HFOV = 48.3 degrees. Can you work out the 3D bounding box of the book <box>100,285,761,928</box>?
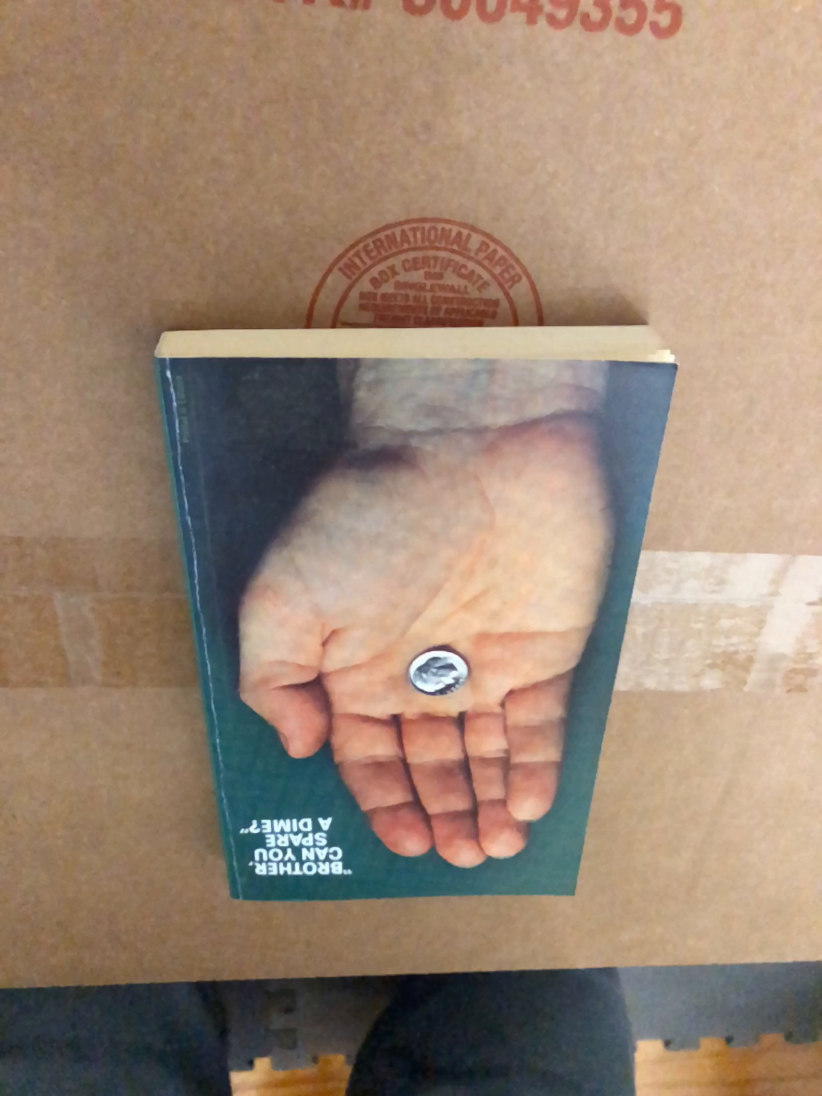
[{"bbox_3d":[0.002,0.028,0.225,0.120,0.020,0.181,-1,124,-4],"label":"book"}]
